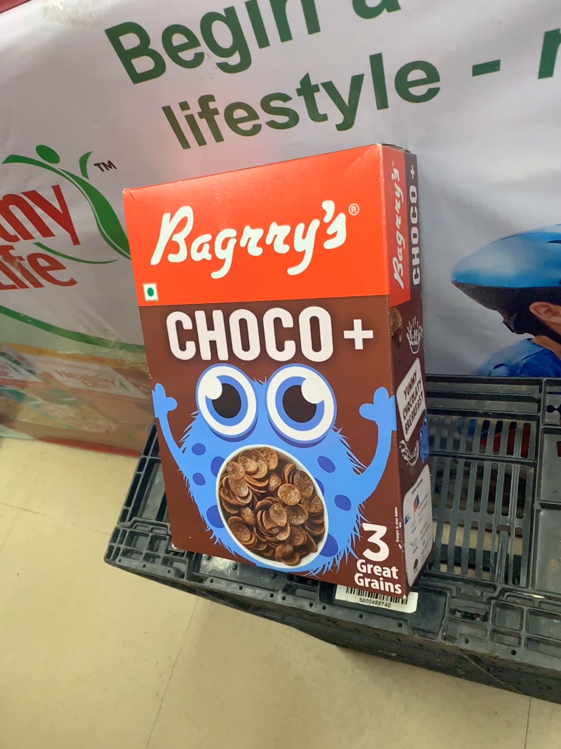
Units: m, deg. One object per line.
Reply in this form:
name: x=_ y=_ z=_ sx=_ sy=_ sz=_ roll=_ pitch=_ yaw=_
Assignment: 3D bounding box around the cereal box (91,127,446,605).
cereal box: x=-0.005 y=-0.006 z=0.365 sx=0.191 sy=0.080 sz=0.240 roll=2 pitch=103 yaw=30
